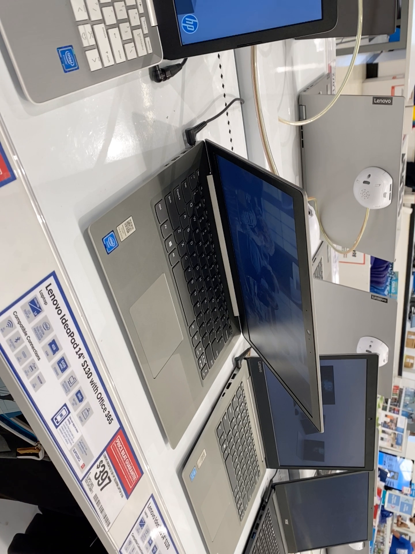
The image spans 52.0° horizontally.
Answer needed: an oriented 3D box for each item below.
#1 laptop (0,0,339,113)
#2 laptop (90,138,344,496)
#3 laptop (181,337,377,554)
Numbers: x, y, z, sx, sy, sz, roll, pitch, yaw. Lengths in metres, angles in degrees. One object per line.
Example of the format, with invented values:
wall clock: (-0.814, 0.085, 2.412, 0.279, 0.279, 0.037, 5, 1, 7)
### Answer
laptop: (-0.024, -0.324, 0.303, 0.285, 0.155, 0.305, -49, 136, -45)
laptop: (0.050, 0.038, 0.510, 0.231, 0.170, 0.330, -52, 139, -45)
laptop: (0.156, 0.340, 0.740, 0.310, 0.215, 0.330, -51, 139, -47)
